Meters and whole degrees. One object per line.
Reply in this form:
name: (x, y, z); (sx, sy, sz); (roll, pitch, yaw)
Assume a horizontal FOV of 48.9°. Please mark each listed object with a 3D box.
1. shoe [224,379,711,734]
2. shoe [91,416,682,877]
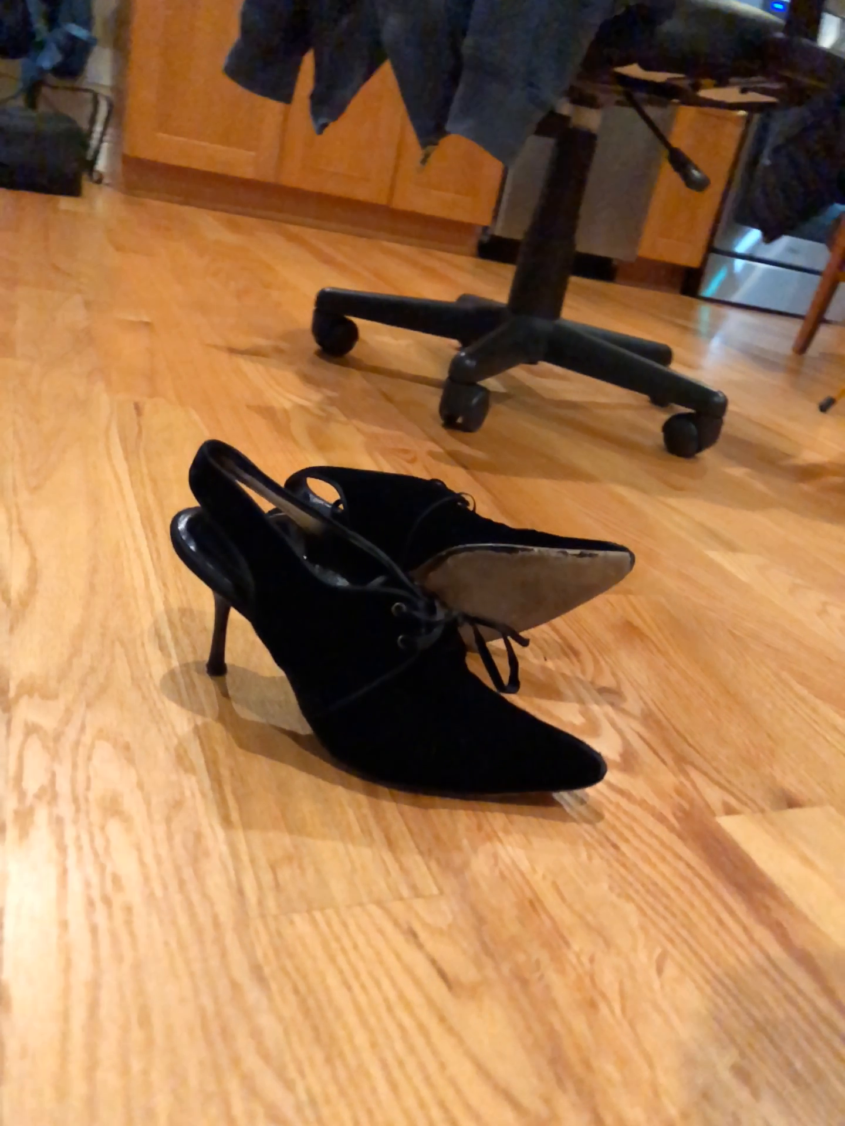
shoe: (0.025, -0.017, 0.562); (0.252, 0.107, 0.118); (21, 24, 18)
shoe: (-0.019, 0.027, 0.458); (0.252, 0.117, 0.108); (19, 23, 14)
